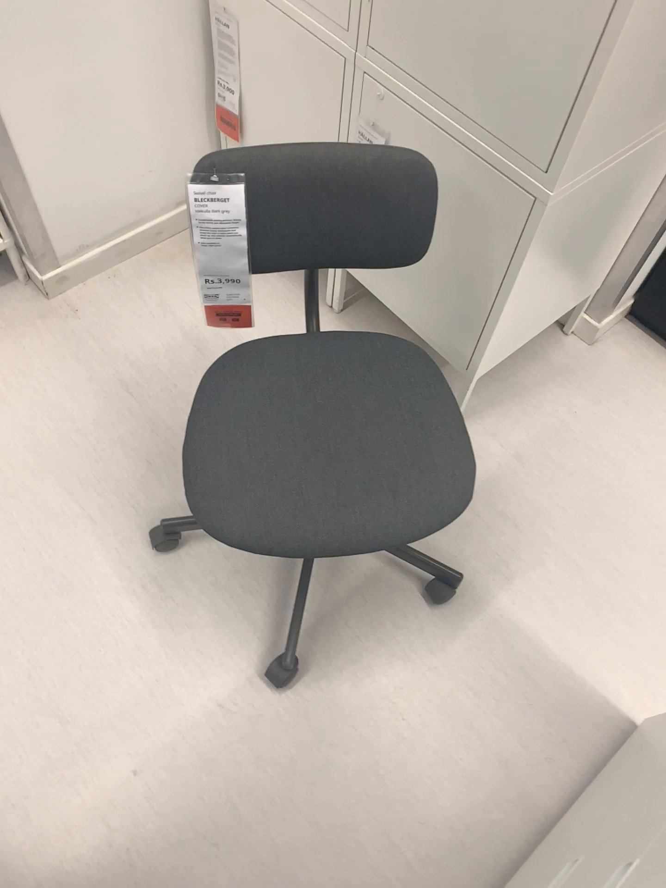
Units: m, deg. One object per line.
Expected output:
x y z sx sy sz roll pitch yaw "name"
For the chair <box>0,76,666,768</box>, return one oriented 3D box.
-0.007 -0.009 1.166 0.720 0.679 0.711 28 62 12 "chair"
